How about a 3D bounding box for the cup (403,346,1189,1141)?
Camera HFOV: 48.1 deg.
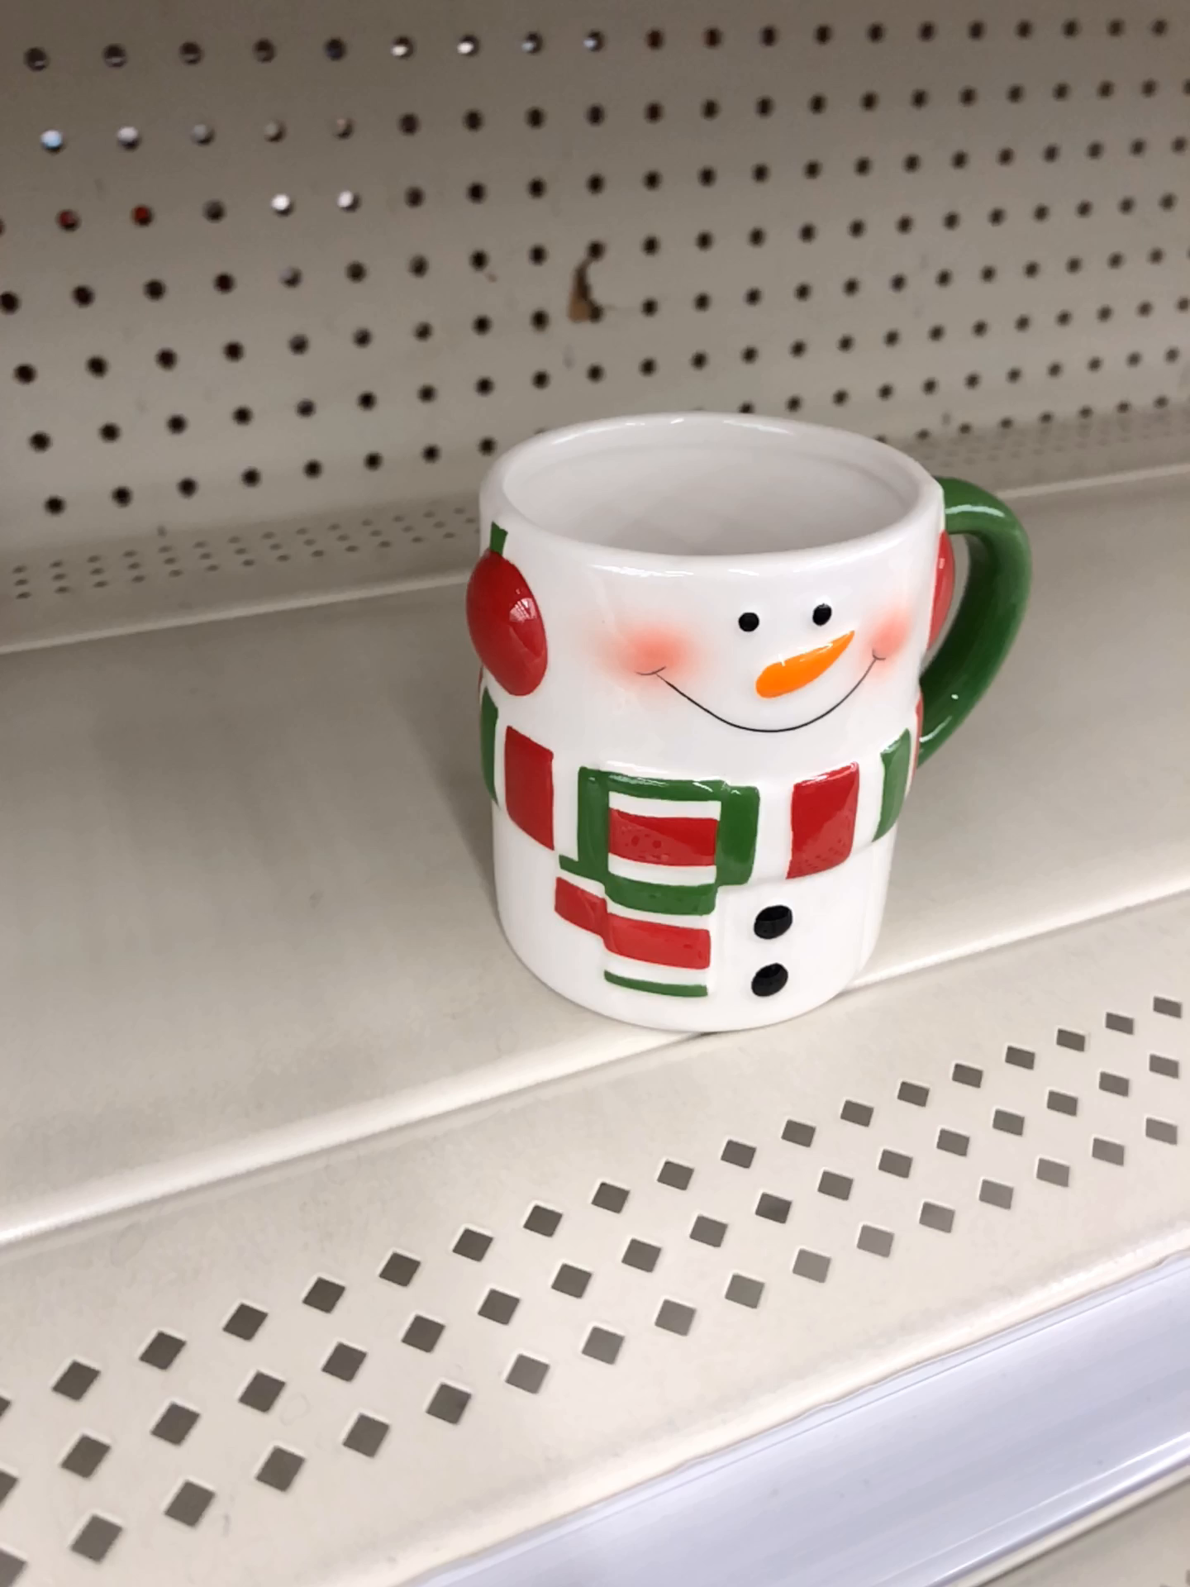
[{"bbox_3d":[0.041,-0.019,0.278,0.130,0.110,0.090,-15,36,-24],"label":"cup"}]
